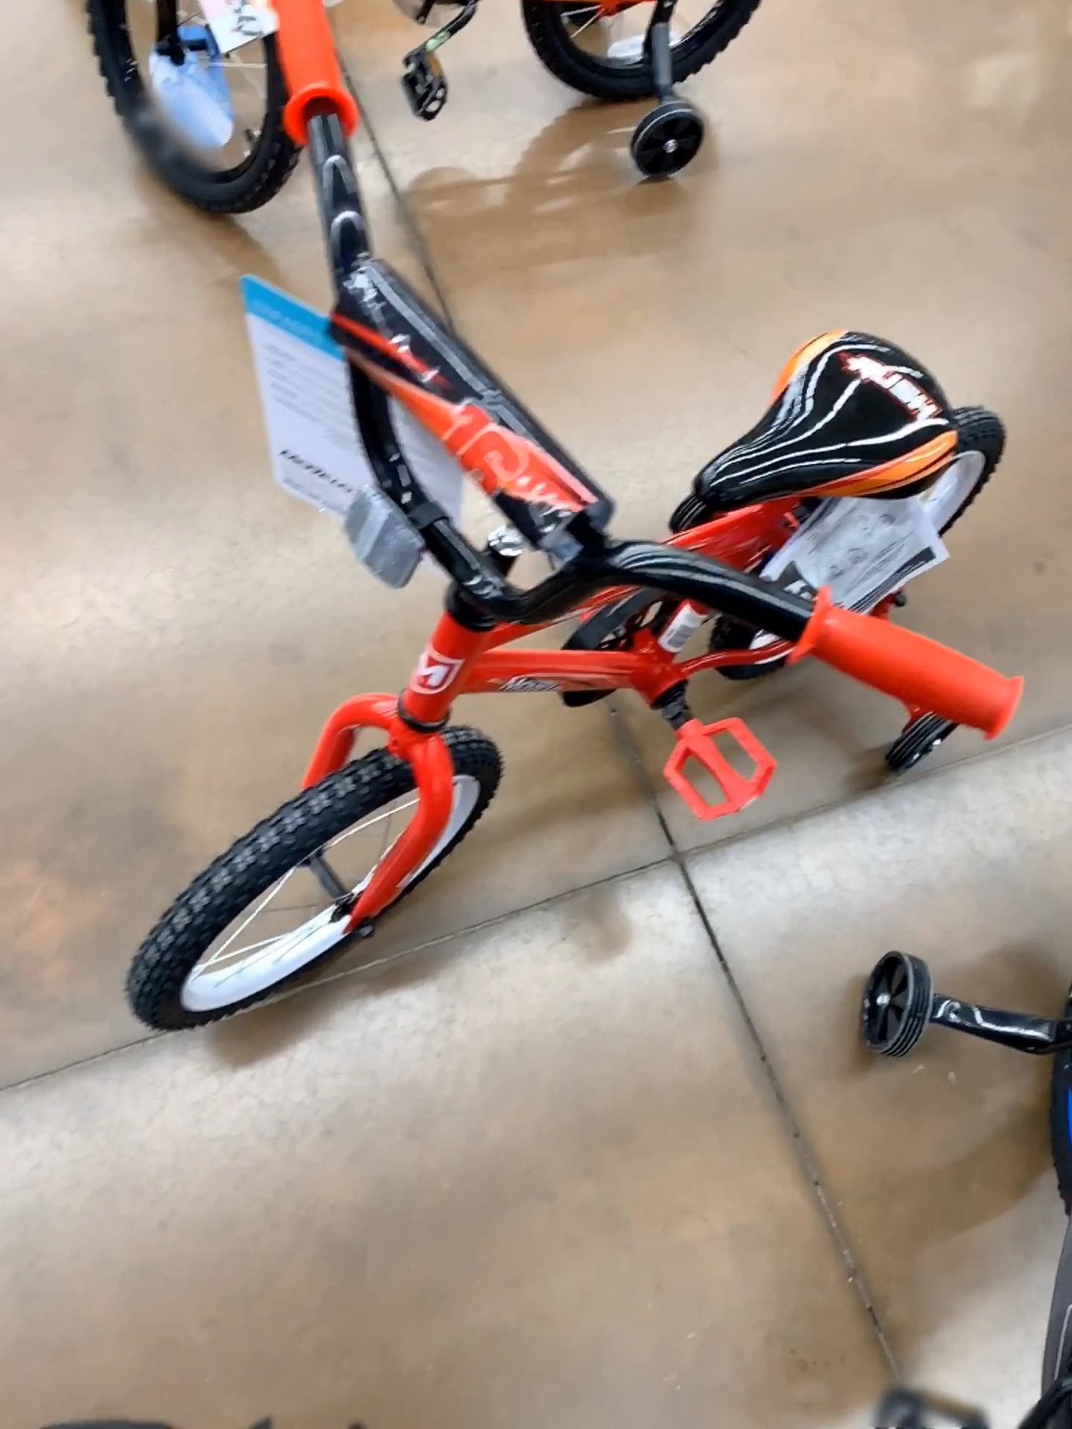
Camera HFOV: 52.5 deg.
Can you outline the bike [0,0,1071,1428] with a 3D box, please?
[{"bbox_3d":[0.143,-0.082,0.956,1.141,0.956,0.516,-32,72,-22],"label":"bike"}]
